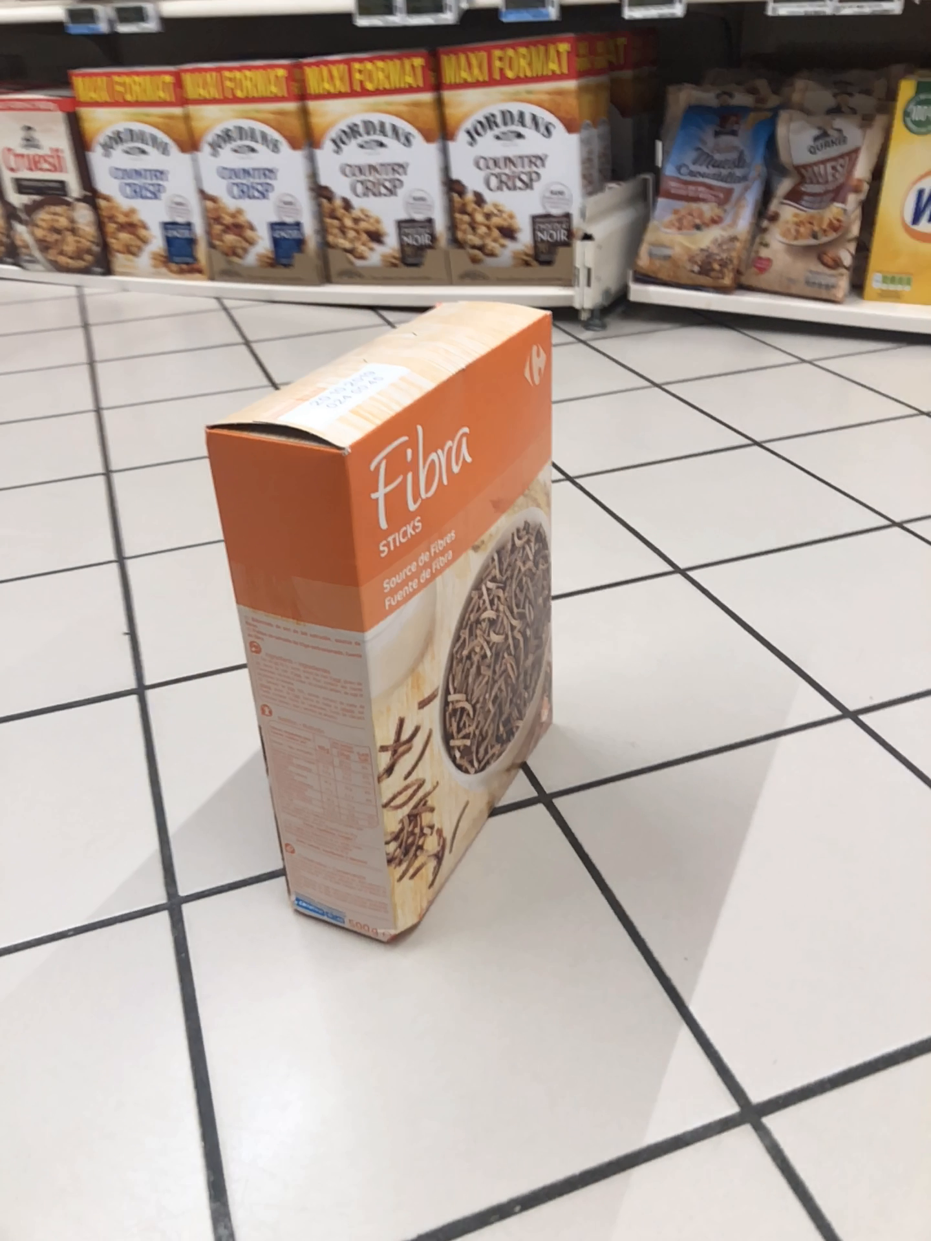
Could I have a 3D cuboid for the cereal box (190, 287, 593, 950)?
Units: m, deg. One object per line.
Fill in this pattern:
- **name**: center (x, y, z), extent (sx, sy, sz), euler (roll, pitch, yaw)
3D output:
- **cereal box**: center (-0.014, -0.012, 0.488), extent (0.080, 0.239, 0.201), euler (12, 33, 23)
